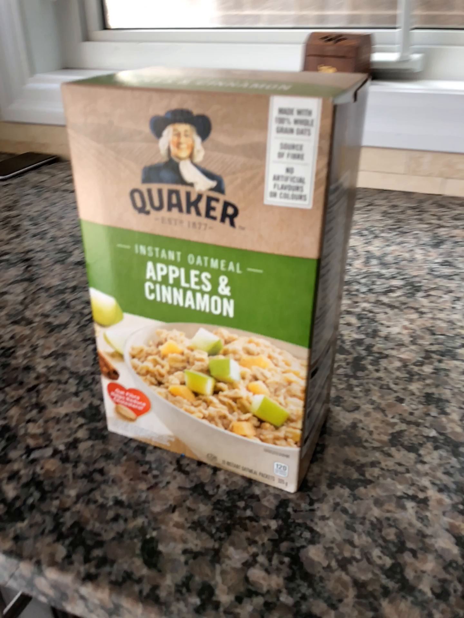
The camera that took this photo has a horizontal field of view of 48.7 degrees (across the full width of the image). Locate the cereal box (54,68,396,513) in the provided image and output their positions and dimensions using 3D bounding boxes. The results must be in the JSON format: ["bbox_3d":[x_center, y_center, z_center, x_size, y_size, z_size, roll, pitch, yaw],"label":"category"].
[{"bbox_3d":[0.002,-0.013,0.286,0.130,0.209,0.090,12,32,21],"label":"cereal box"}]
